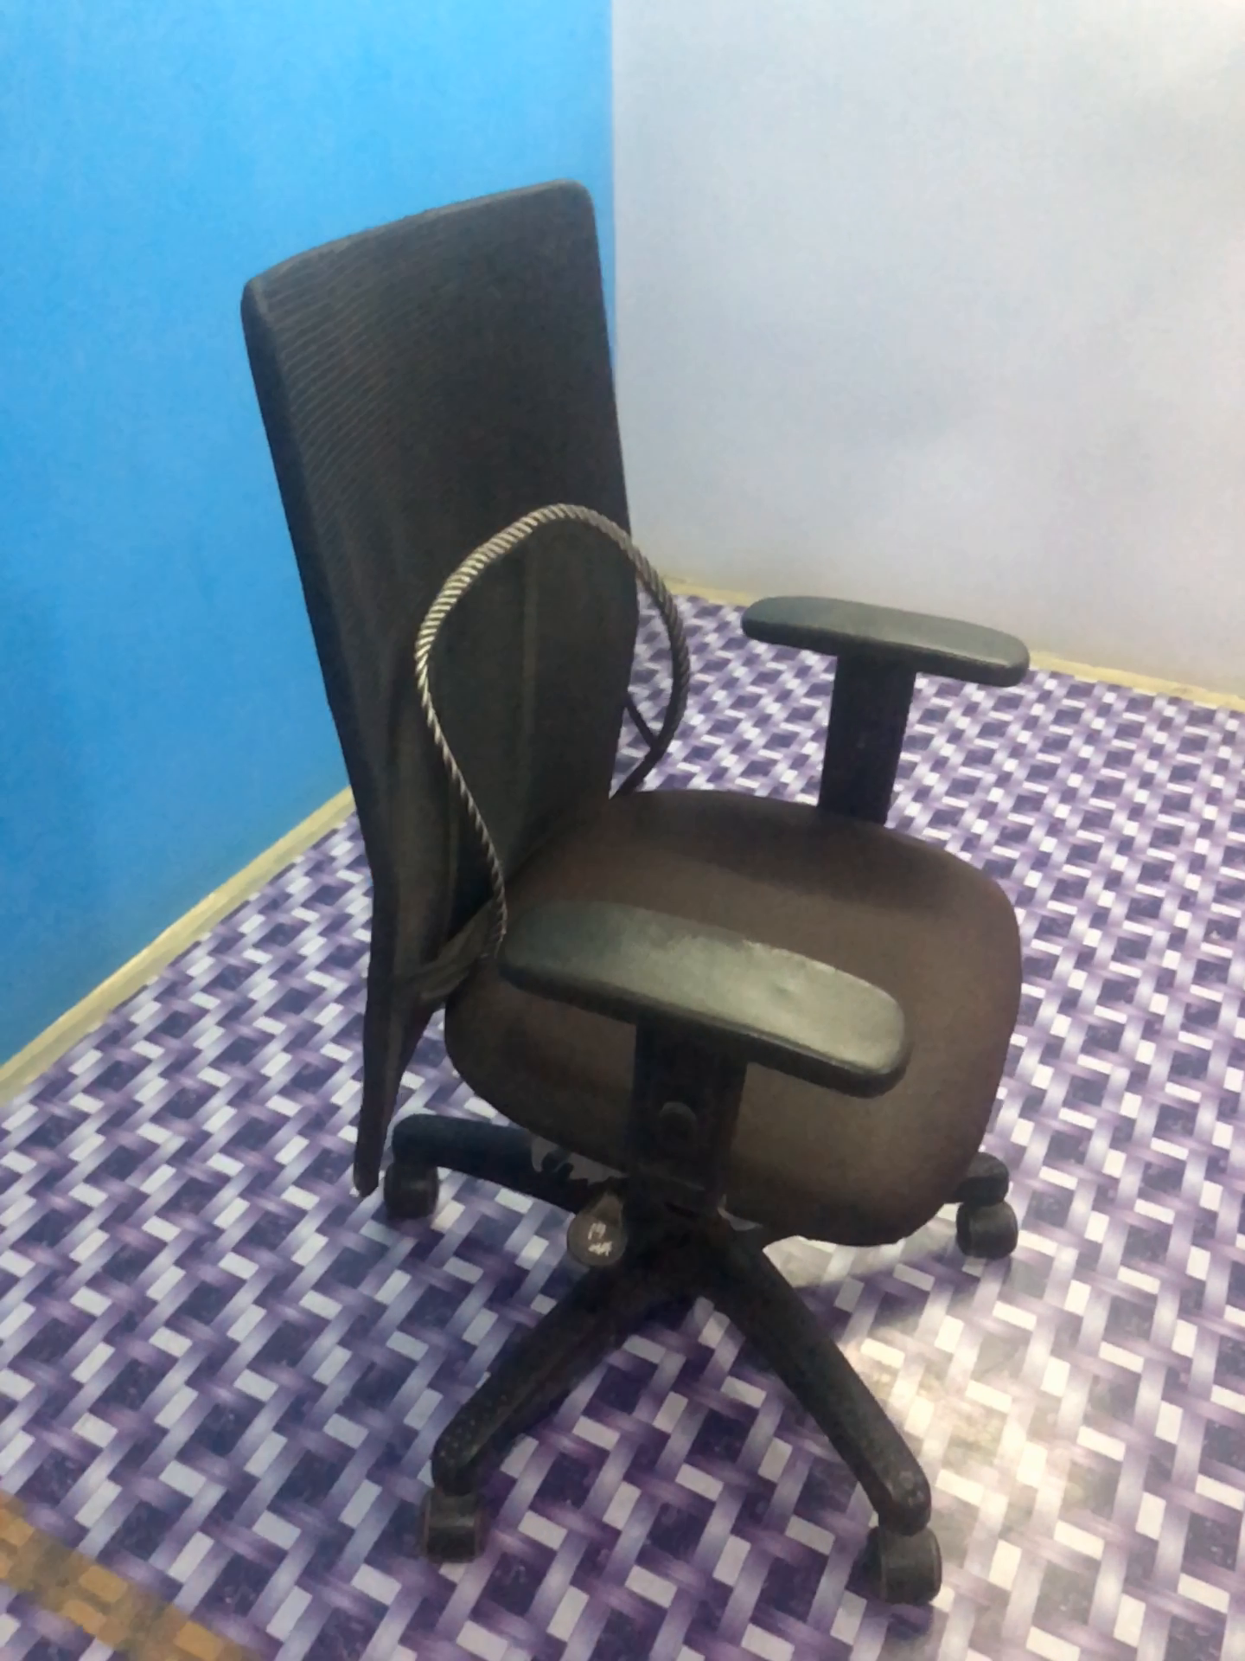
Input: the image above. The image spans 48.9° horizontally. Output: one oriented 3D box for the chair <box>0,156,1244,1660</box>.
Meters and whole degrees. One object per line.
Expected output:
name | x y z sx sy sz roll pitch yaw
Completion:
chair | 0.048 0.035 1.041 0.670 0.885 0.664 10 34 16
